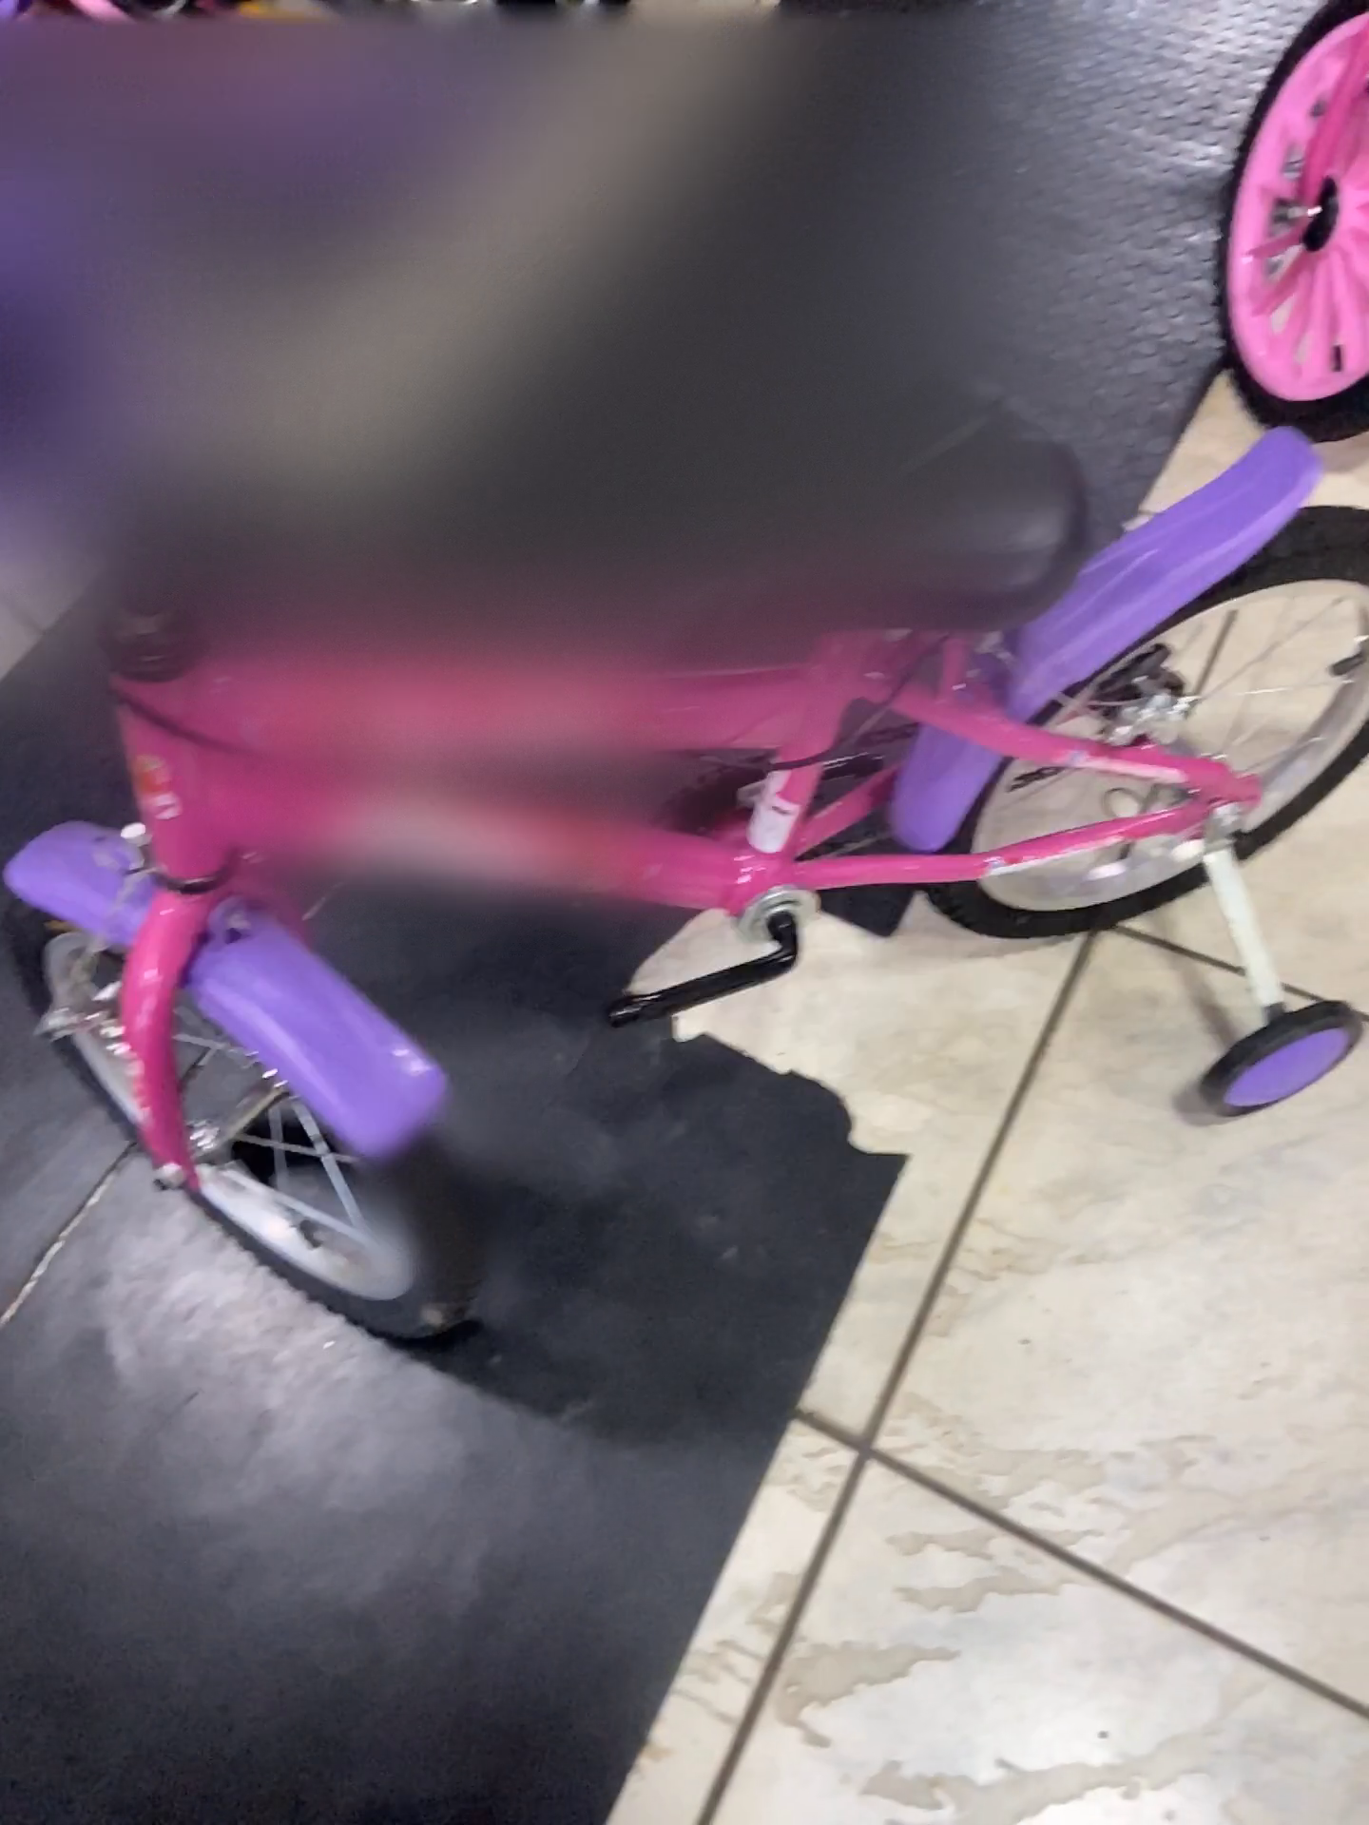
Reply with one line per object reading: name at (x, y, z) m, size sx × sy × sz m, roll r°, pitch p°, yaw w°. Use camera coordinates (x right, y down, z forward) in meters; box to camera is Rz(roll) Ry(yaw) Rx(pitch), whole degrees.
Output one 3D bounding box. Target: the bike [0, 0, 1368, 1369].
bike at (-0.038, -0.174, 0.832) m, size 0.921 × 0.703 × 0.548 m, roll -16°, pitch 58°, yaw 2°
